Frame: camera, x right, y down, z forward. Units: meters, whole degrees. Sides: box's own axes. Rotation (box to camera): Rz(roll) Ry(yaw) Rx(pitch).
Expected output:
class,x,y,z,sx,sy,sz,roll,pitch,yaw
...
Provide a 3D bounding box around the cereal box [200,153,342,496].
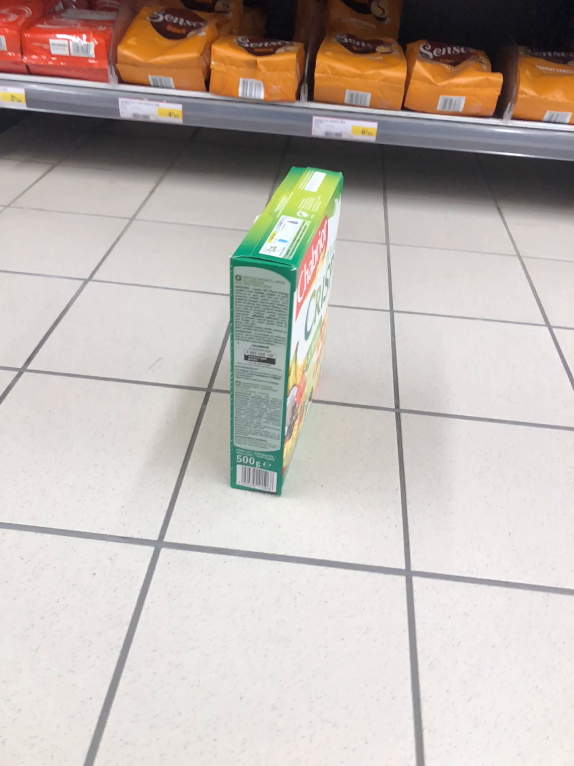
class,x,y,z,sx,sy,sz,roll,pitch,yaw
cereal box,-0.010,-0.056,0.550,0.060,0.219,0.201,11,37,9
